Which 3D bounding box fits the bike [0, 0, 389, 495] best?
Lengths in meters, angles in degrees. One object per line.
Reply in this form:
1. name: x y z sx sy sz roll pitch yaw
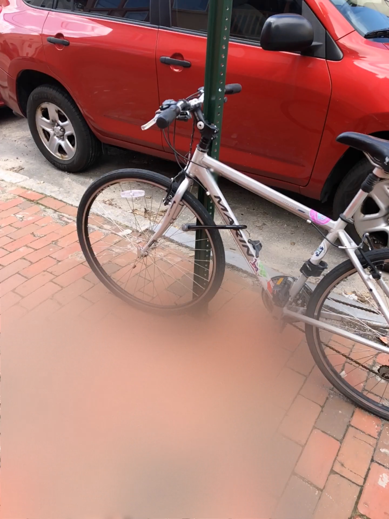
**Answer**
1. bike: 0.188 -0.153 1.460 1.561 1.010 0.612 21 41 20
